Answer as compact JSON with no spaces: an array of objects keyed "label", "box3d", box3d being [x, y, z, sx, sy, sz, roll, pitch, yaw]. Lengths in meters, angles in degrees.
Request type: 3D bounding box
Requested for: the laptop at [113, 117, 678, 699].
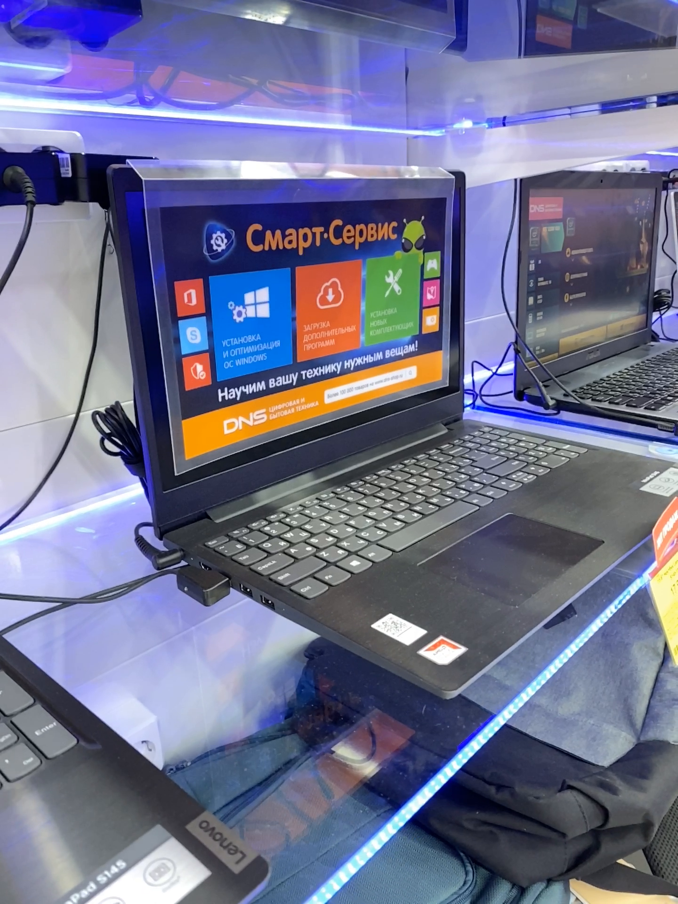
[{"label":"laptop","box3d":[0.087,-0.073,0.484,0.258,0.239,0.362,16,25,43]}]
